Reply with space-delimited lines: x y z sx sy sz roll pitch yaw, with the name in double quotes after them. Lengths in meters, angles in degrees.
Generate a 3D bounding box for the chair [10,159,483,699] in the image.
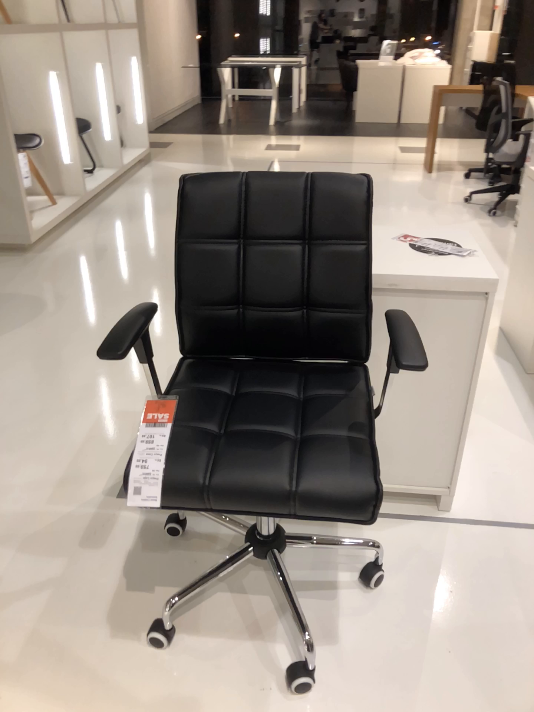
-0.014 0.109 1.309 0.620 0.913 0.746 1 29 3 "chair"
